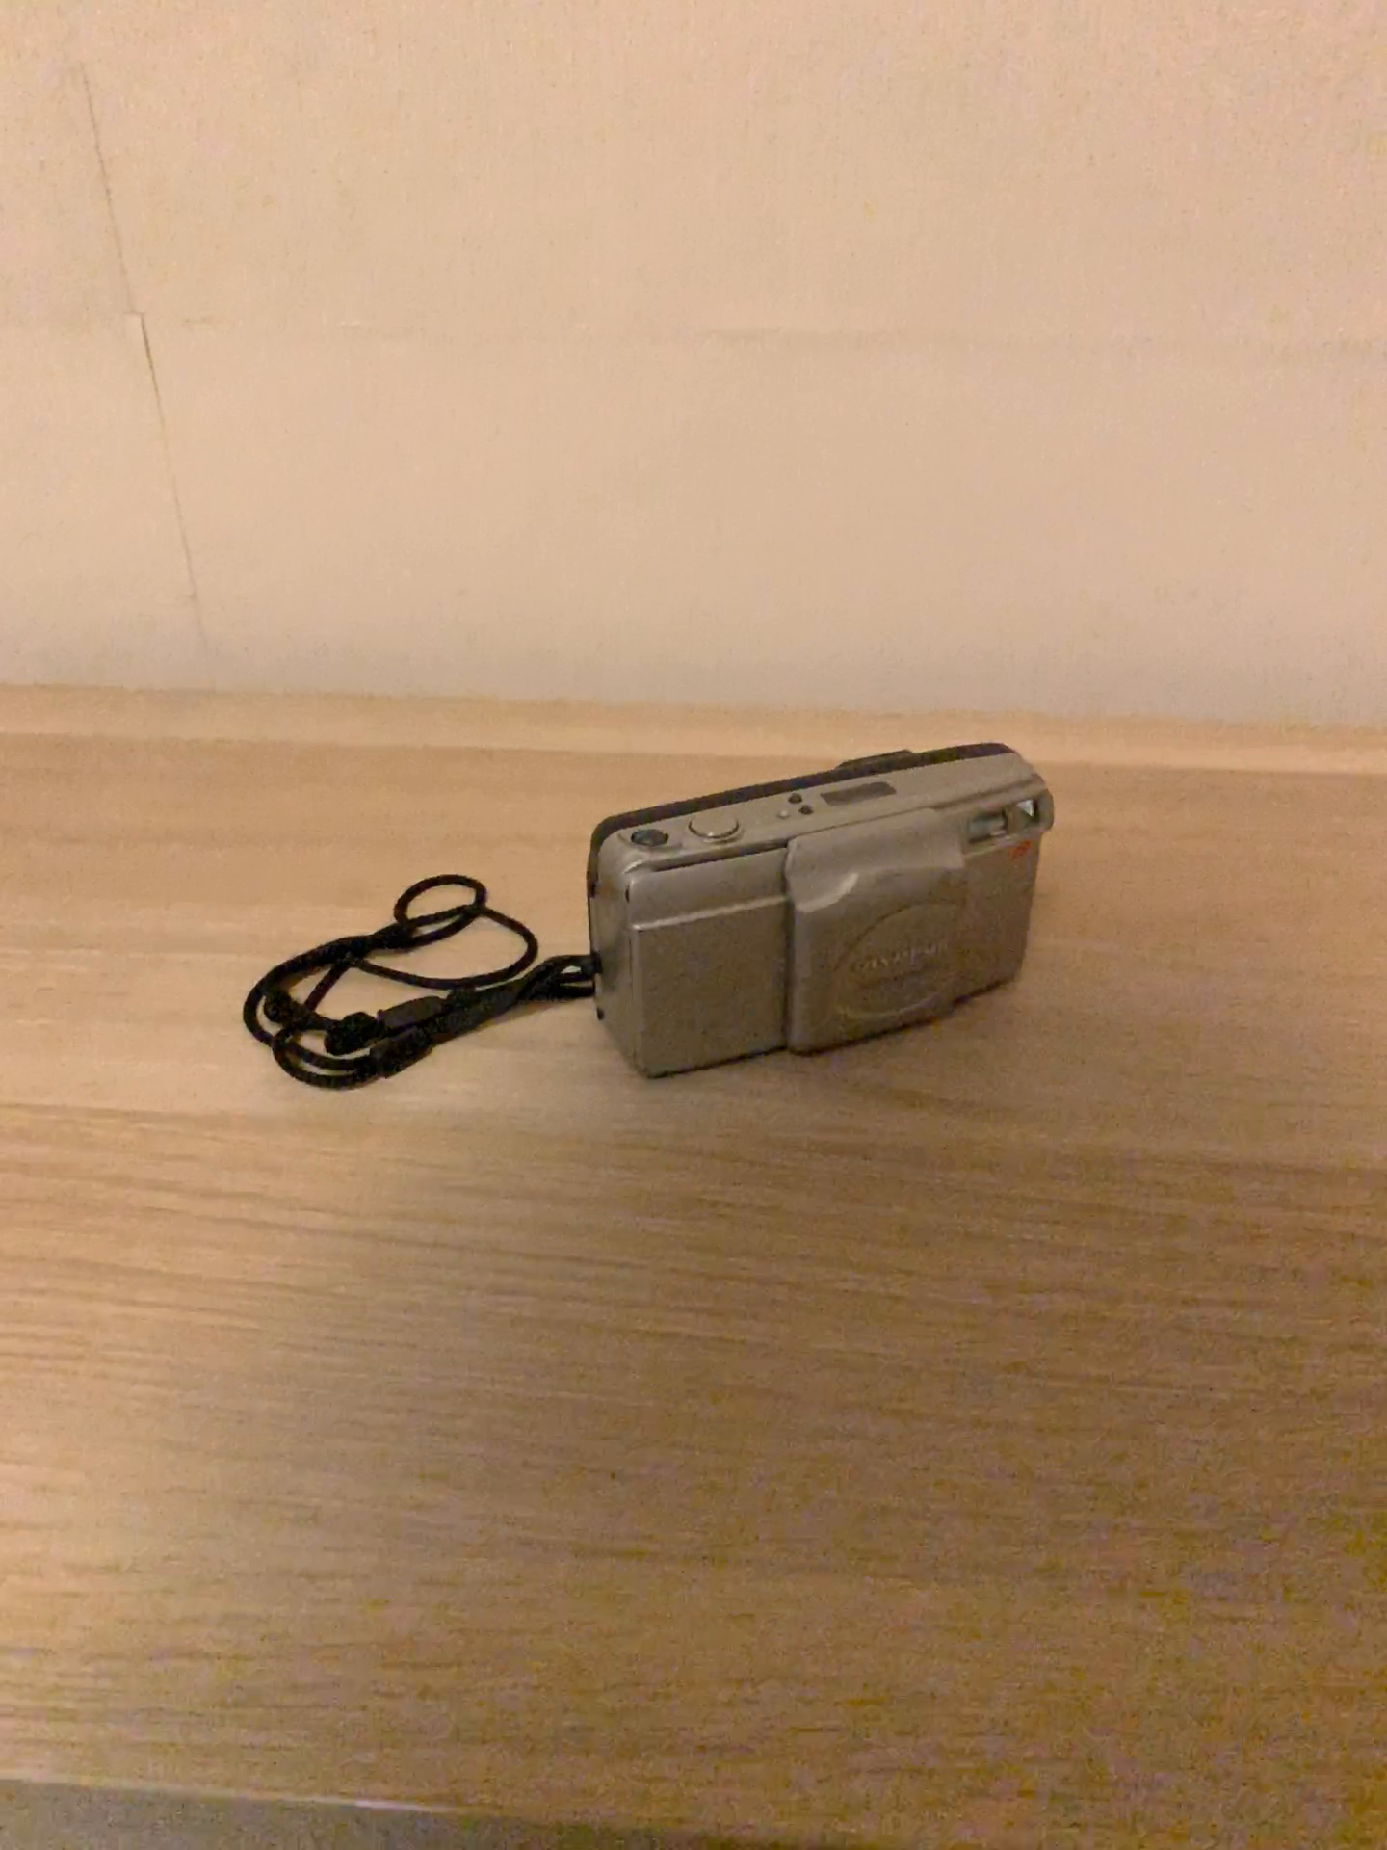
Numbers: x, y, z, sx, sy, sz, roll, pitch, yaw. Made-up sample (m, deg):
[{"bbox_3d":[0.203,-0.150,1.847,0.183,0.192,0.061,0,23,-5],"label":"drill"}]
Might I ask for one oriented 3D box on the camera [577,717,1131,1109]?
[{"bbox_3d":[0.039,-0.006,0.360,0.126,0.059,0.046,-12,35,-18],"label":"camera"}]
